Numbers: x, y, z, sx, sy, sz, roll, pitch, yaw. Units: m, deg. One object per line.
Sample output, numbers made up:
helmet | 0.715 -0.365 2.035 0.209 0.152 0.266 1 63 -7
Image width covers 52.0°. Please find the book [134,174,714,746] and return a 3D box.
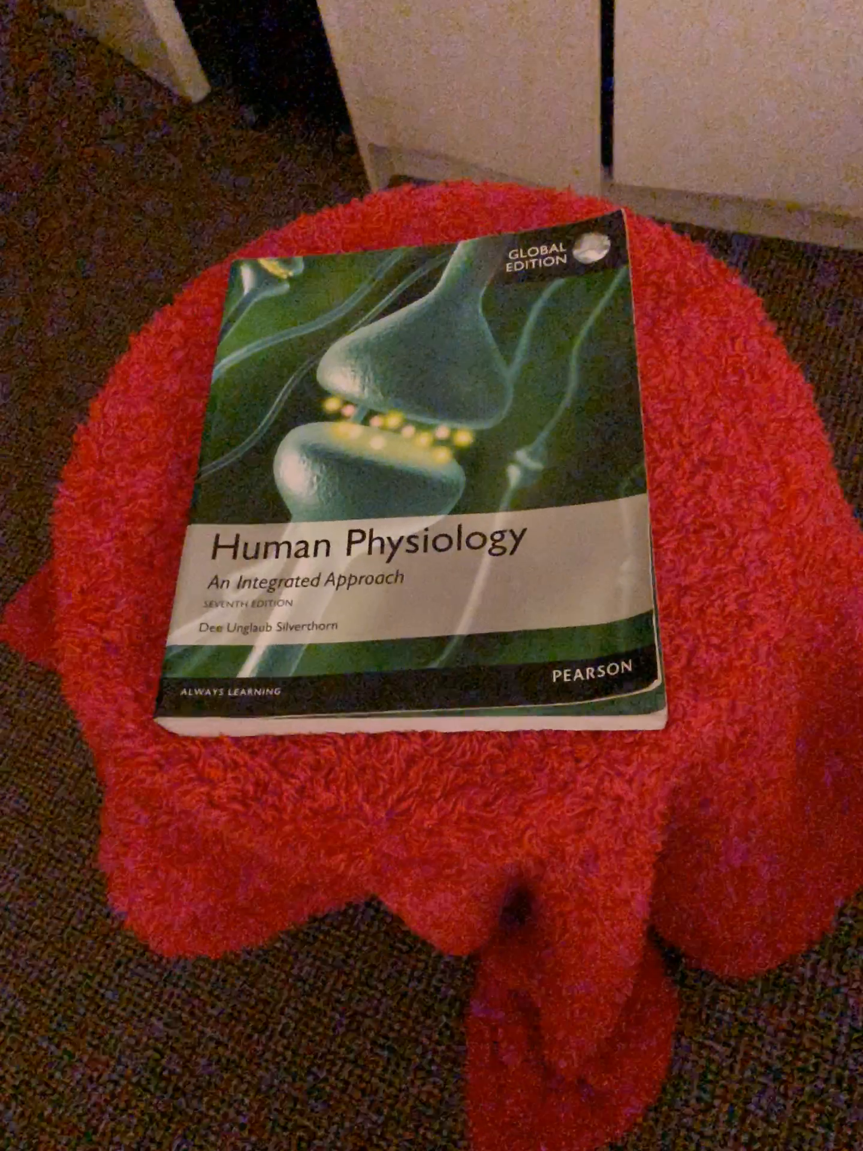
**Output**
book | 0.001 -0.067 0.474 0.250 0.070 0.302 -3 63 10
